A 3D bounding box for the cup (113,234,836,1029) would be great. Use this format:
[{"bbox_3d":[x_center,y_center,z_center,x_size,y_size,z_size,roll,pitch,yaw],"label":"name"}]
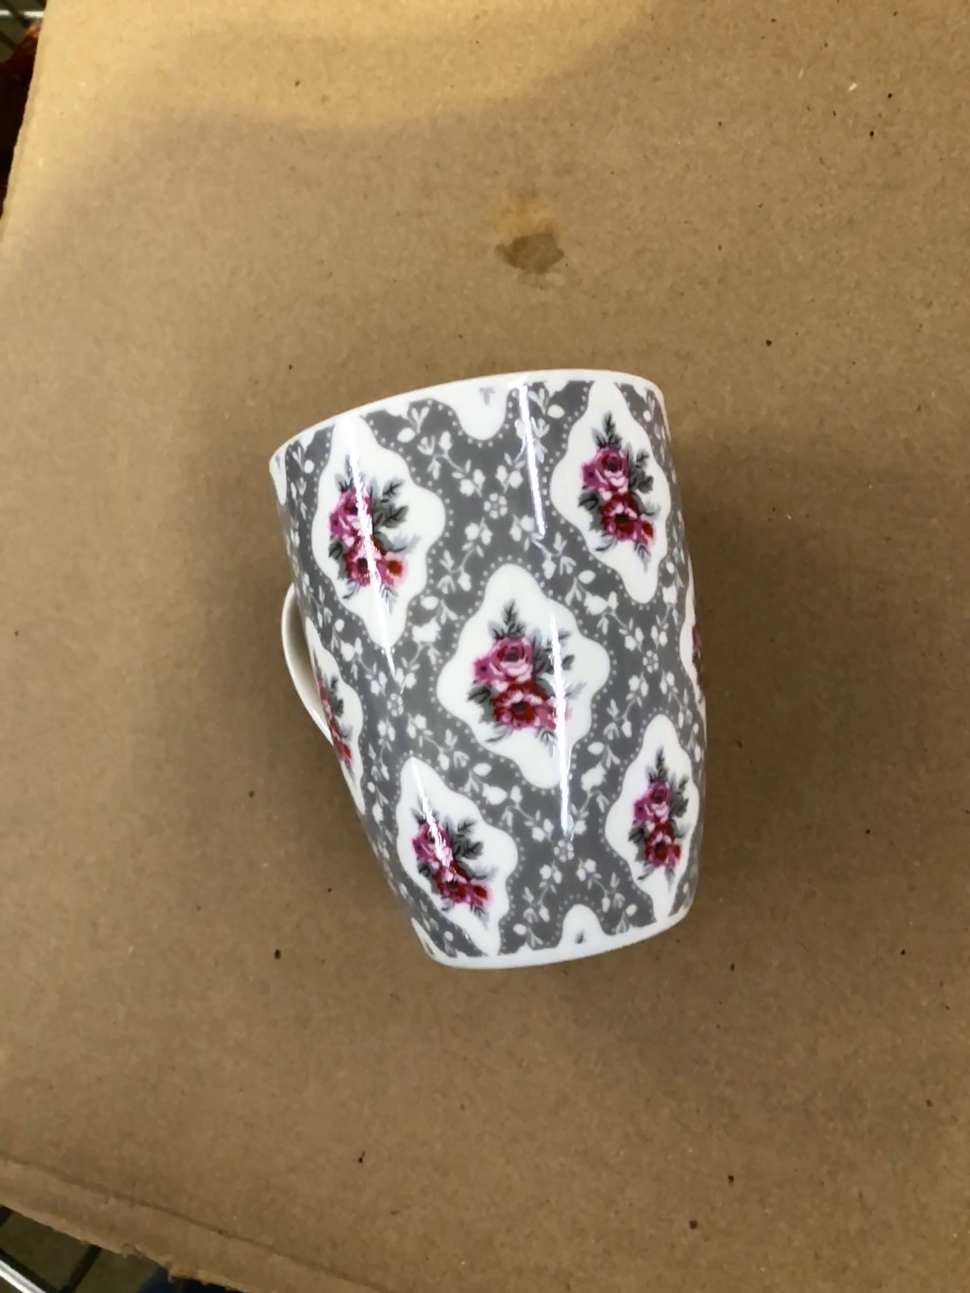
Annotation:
[{"bbox_3d":[-0.007,0.002,0.211,0.100,0.080,0.110,6,98,48],"label":"cup"}]
